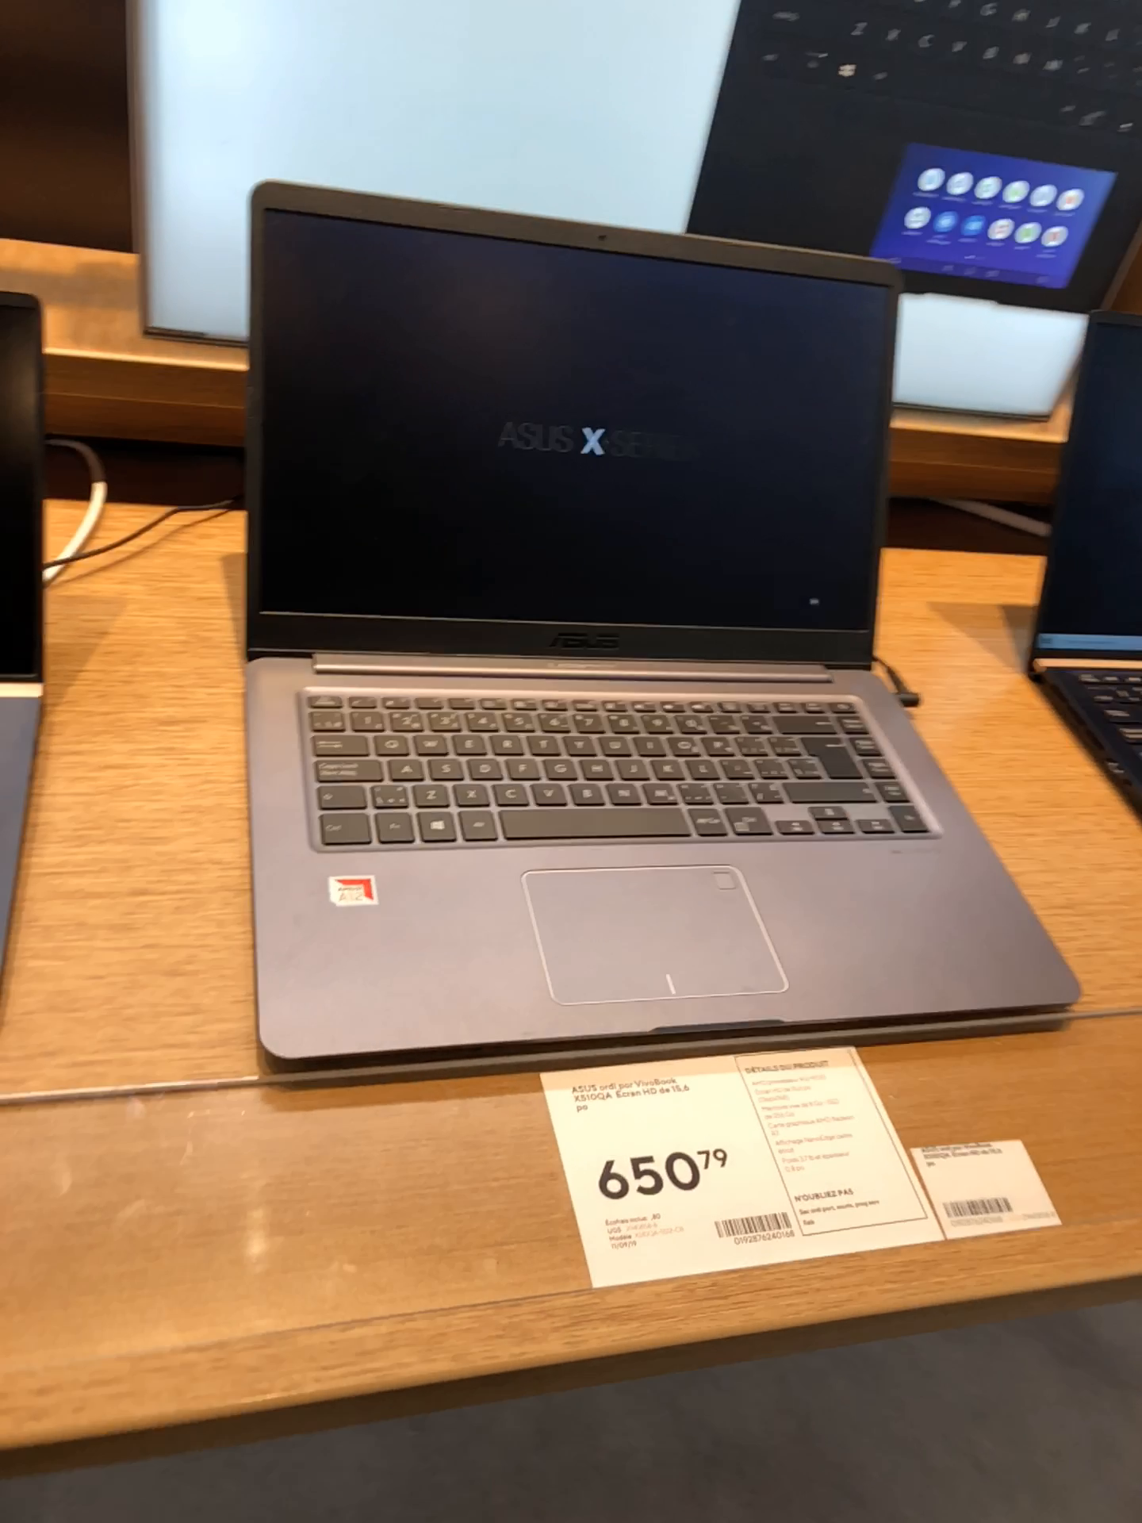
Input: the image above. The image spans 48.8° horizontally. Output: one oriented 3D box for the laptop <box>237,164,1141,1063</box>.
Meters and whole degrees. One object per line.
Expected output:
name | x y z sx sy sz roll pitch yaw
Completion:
laptop | 0.035 -0.092 0.585 0.353 0.177 0.391 0 43 -17
